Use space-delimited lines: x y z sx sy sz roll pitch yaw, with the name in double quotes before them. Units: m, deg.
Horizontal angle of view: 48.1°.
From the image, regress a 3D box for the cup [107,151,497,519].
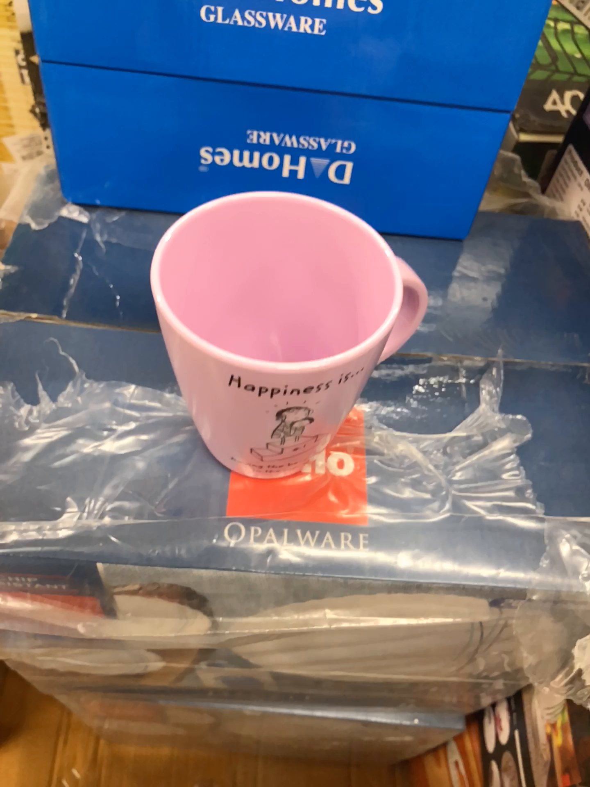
"cup" -0.005 -0.023 0.260 0.110 0.089 0.090 -12 58 -15
